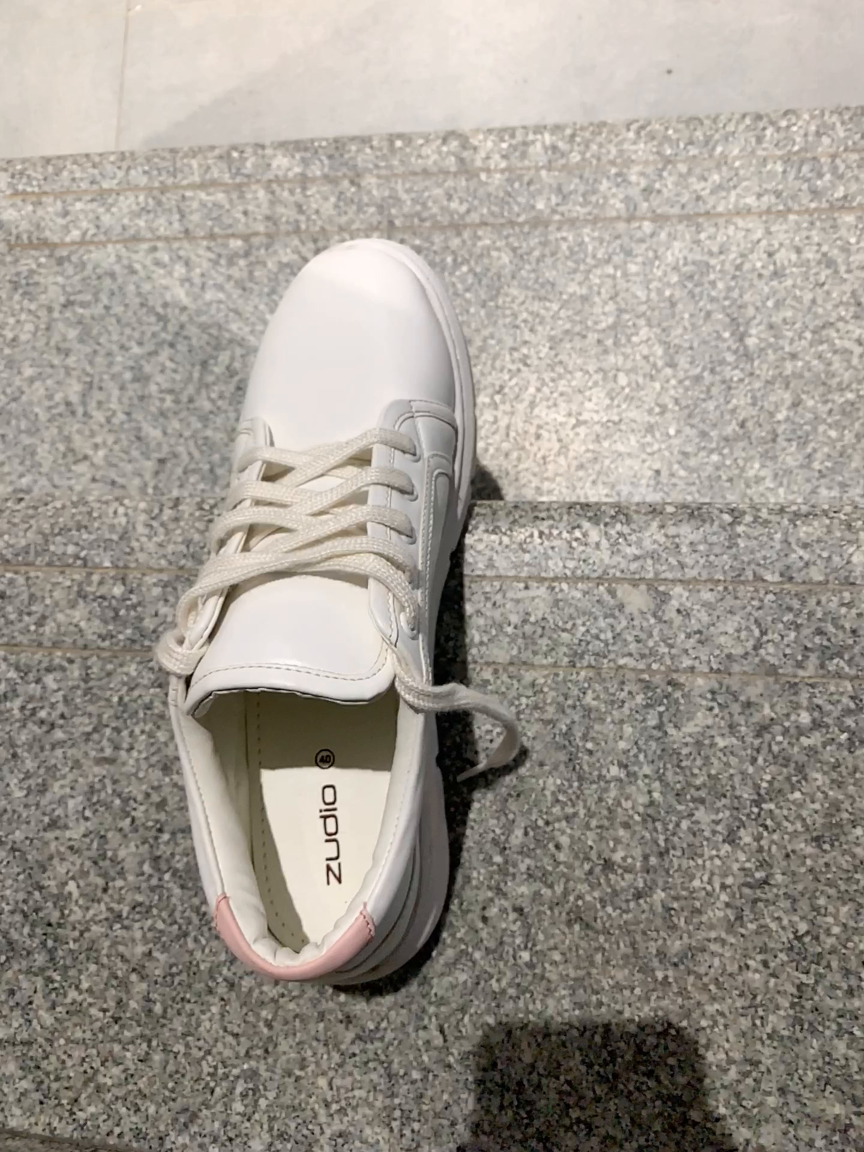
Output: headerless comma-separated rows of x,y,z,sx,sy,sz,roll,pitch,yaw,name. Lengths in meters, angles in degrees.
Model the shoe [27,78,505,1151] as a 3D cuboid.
-0.039,0.008,0.300,0.110,0.110,0.290,1,83,10,shoe
